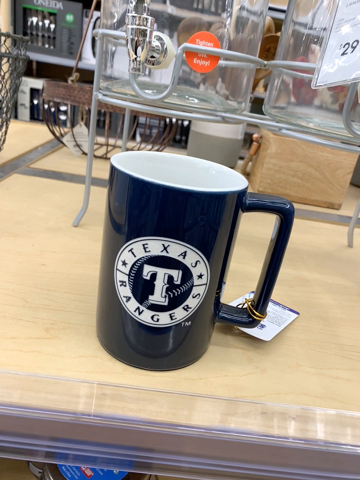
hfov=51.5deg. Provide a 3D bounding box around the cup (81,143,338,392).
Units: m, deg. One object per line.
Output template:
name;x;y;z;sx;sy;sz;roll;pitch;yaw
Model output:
cup;0.010;0.013;0.253;0.123;0.121;0.097;8;23;-4
